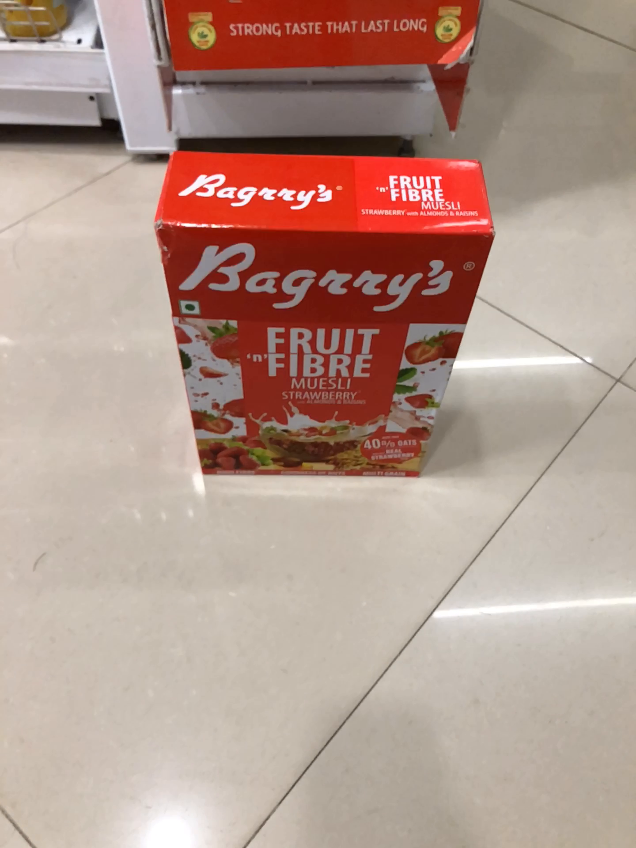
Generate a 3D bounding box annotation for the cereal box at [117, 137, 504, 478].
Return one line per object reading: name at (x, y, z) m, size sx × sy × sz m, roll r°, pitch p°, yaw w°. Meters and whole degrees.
cereal box at (-0.008, -0.059, 0.492) m, size 0.200 × 0.258 × 0.070 m, roll 1°, pitch 55°, yaw -2°
